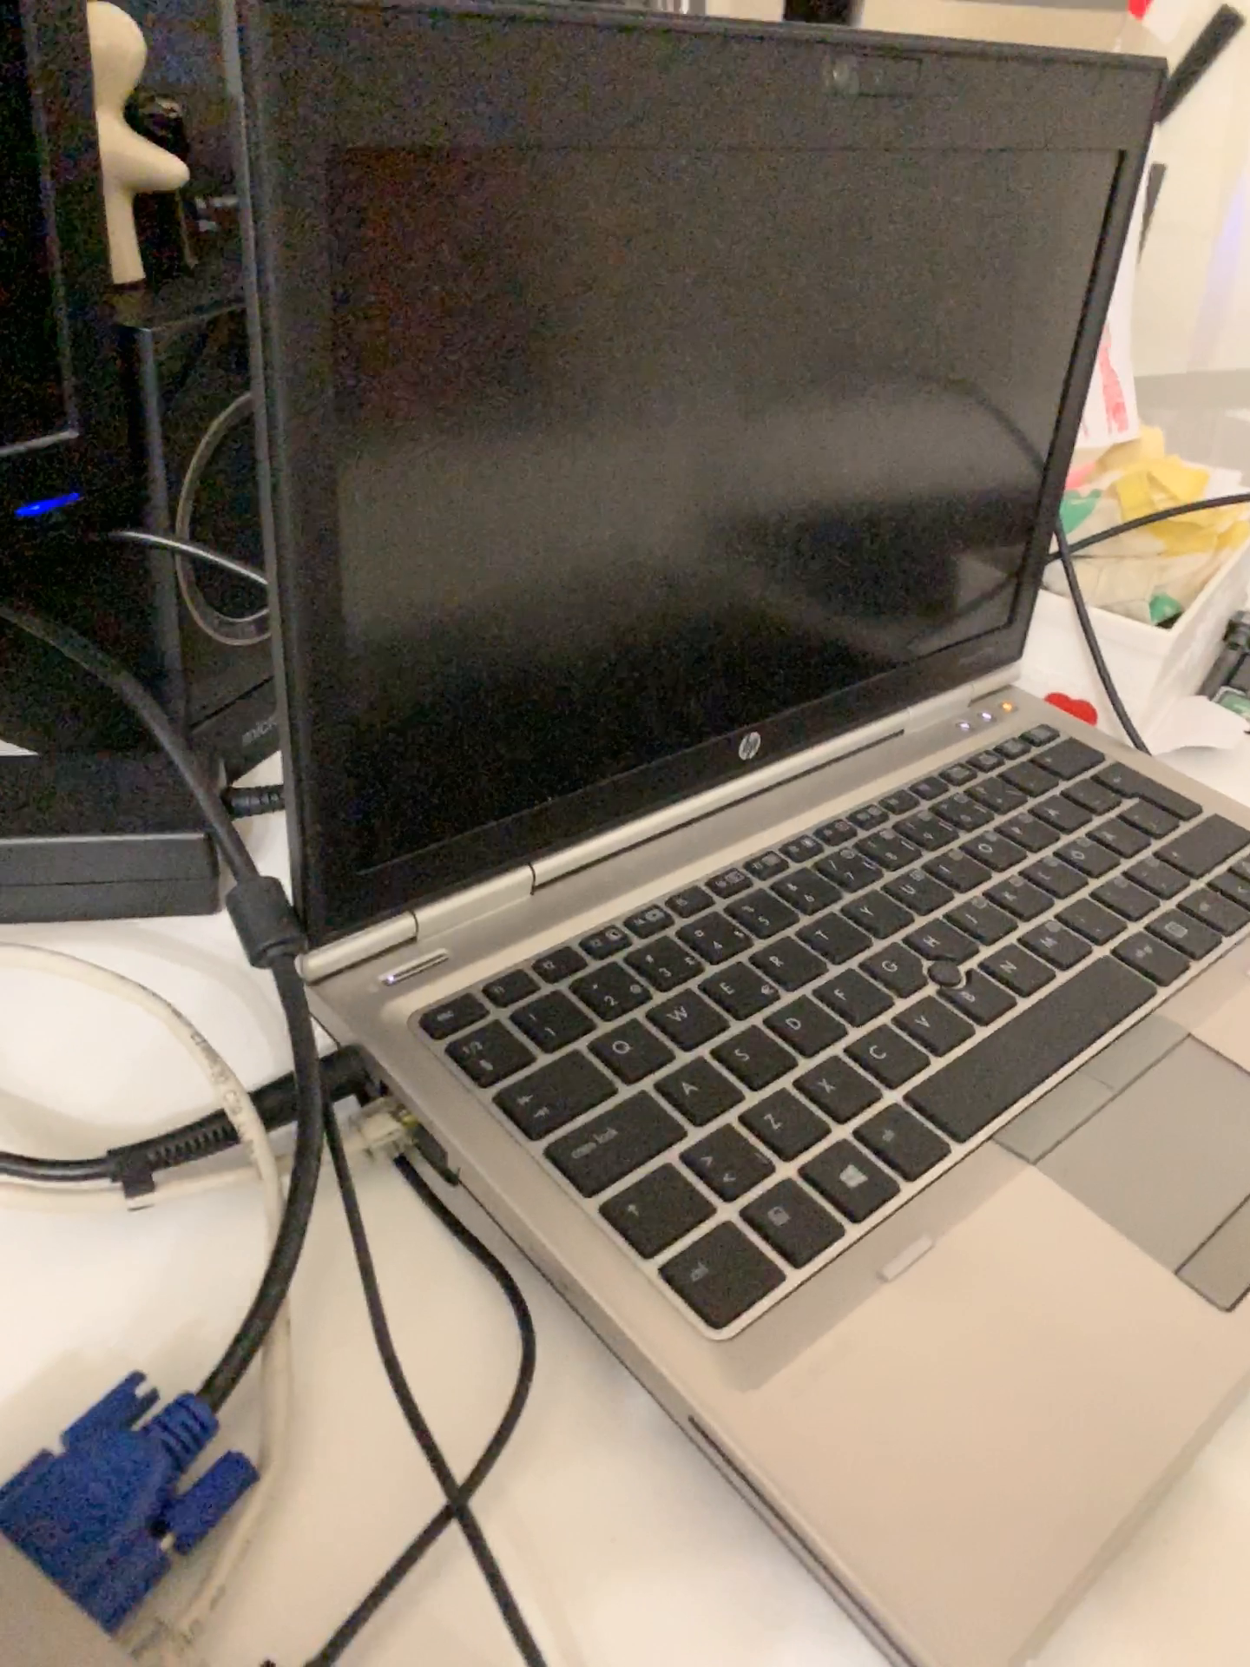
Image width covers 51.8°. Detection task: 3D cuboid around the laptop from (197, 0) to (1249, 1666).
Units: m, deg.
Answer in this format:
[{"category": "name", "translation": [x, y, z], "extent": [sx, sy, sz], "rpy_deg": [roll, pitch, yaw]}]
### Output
[{"category": "laptop", "translation": [0.105, -0.052, 0.299], "extent": [0.304, 0.205, 0.224], "rpy_deg": [-22, 44, -37]}]
